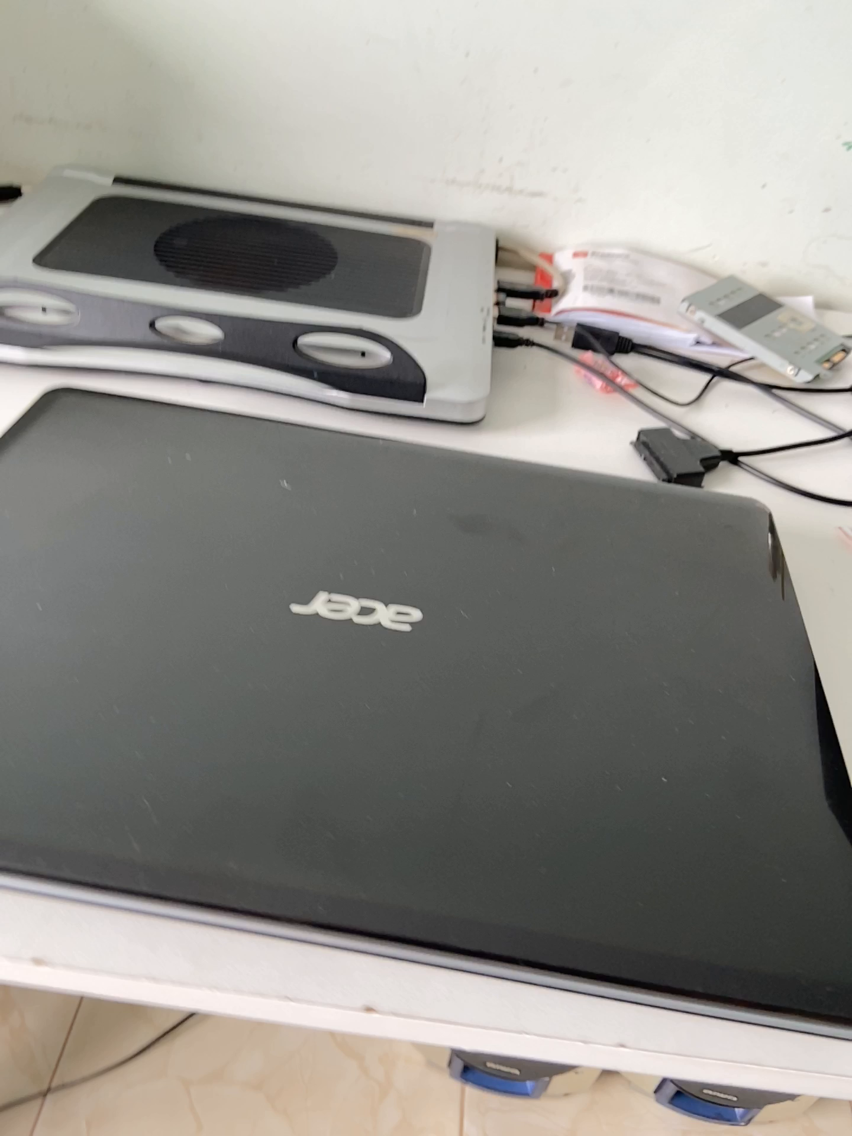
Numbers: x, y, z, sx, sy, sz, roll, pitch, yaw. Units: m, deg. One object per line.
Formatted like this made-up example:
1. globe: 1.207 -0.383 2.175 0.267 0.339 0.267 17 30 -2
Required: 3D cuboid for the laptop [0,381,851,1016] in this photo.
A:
1. laptop: -0.023 0.014 0.318 0.335 0.005 0.231 9 39 2
